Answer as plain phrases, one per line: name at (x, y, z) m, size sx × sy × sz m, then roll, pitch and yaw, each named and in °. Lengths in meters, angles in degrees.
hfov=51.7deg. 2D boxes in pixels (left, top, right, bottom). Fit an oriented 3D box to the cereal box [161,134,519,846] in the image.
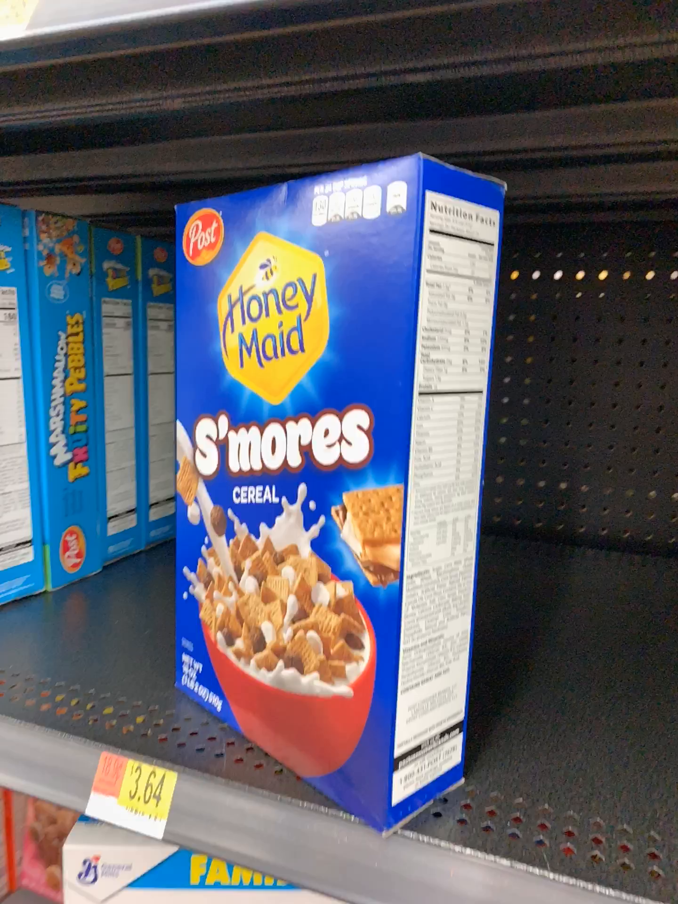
cereal box at (-0.017, 0.011, 0.403) m, size 0.070 × 0.319 × 0.200 m, roll -5°, pitch 11°, yaw -44°
